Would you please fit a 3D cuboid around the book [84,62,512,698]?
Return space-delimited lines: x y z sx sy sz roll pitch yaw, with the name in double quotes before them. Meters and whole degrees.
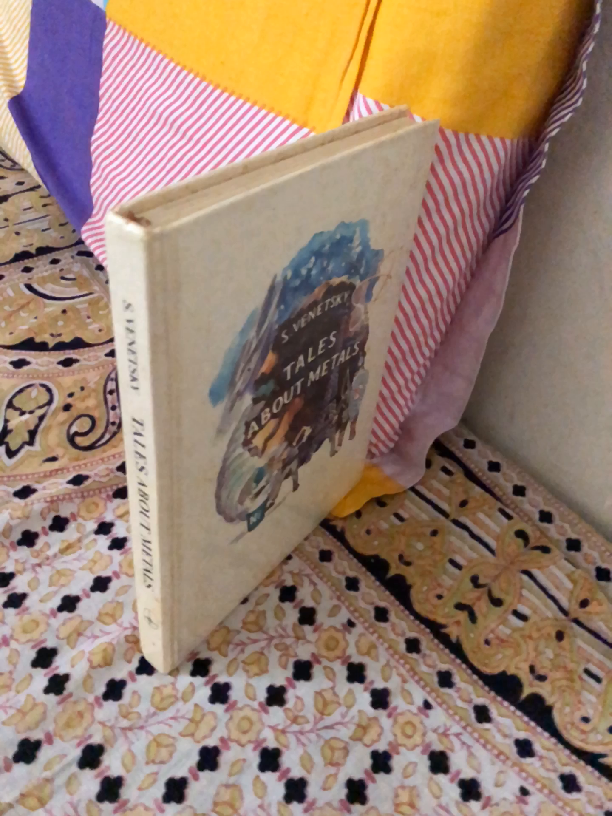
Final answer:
"book" -0.005 -0.015 0.317 0.050 0.249 0.191 30 40 24
